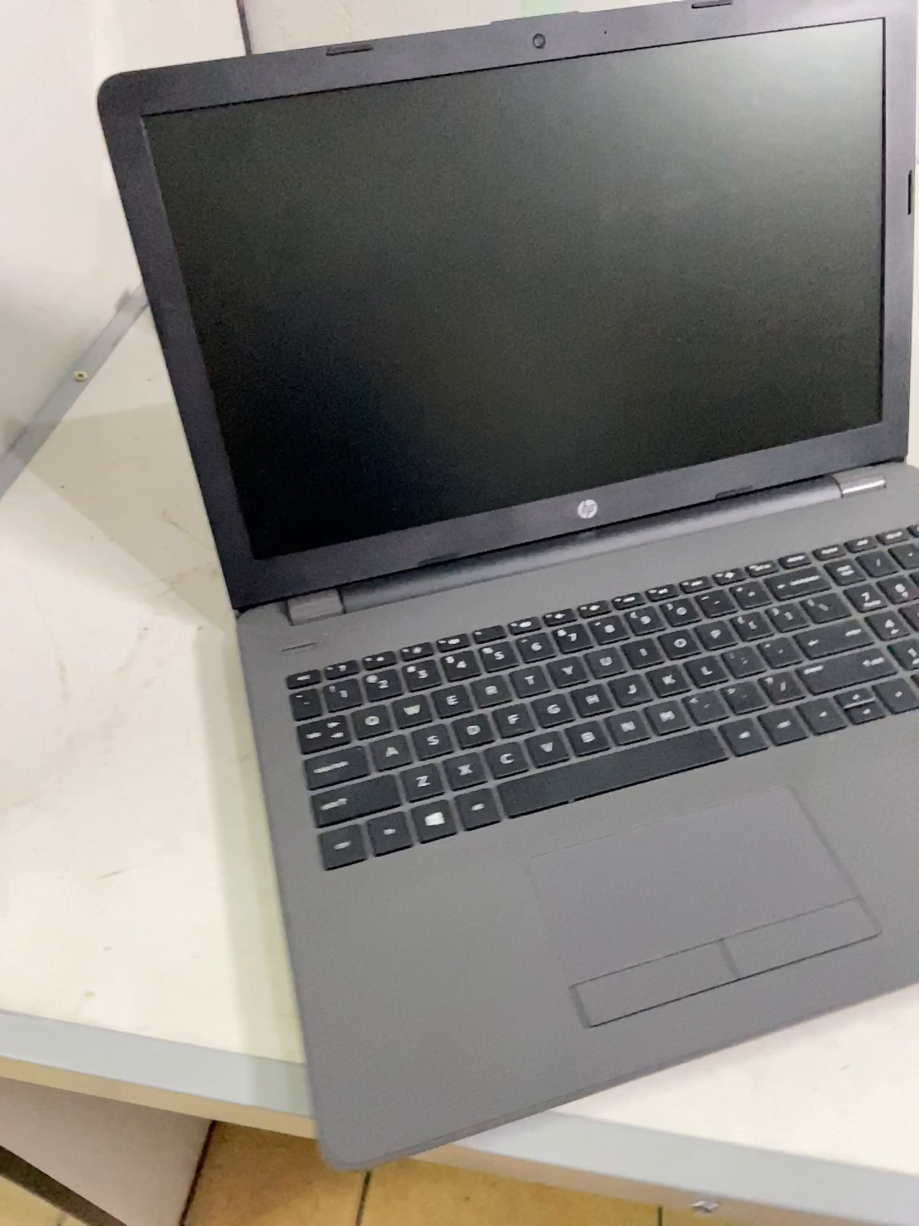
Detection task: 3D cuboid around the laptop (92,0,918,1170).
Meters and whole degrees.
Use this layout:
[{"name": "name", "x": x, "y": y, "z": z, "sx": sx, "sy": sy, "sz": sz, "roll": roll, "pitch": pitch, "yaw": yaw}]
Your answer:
[{"name": "laptop", "x": 0.086, "y": -0.062, "z": 0.380, "sx": 0.380, "sy": 0.206, "sz": 0.366, "roll": -14, "pitch": 49, "yaw": -10}]
